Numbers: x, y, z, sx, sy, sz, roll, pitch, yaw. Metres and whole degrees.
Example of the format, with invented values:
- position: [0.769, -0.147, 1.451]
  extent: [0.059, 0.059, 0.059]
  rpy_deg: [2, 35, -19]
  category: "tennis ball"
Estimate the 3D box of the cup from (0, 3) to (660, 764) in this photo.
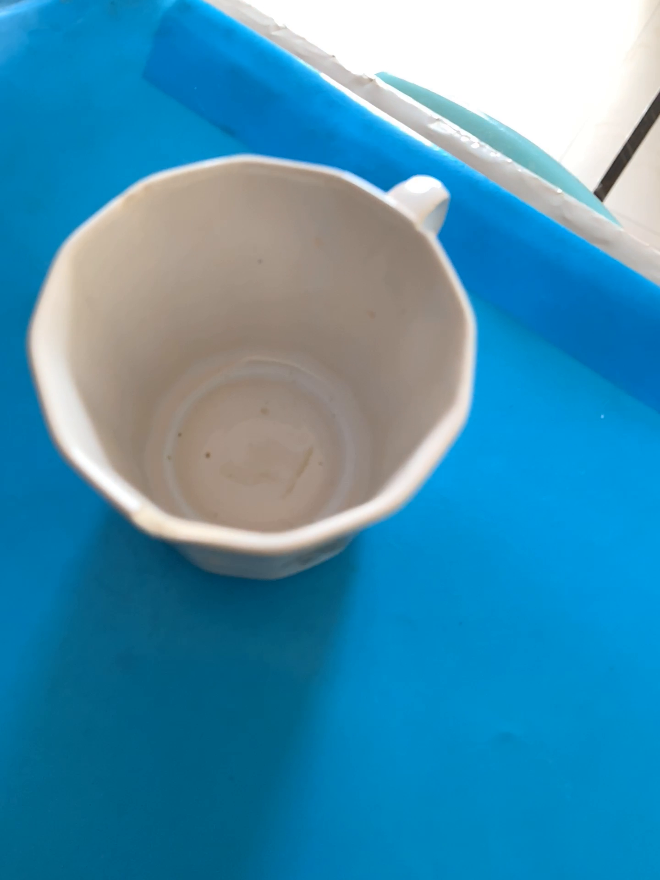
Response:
- position: [-0.004, -0.010, 0.127]
  extent: [0.100, 0.060, 0.070]
  rpy_deg: [-41, 77, -14]
  category: "cup"
